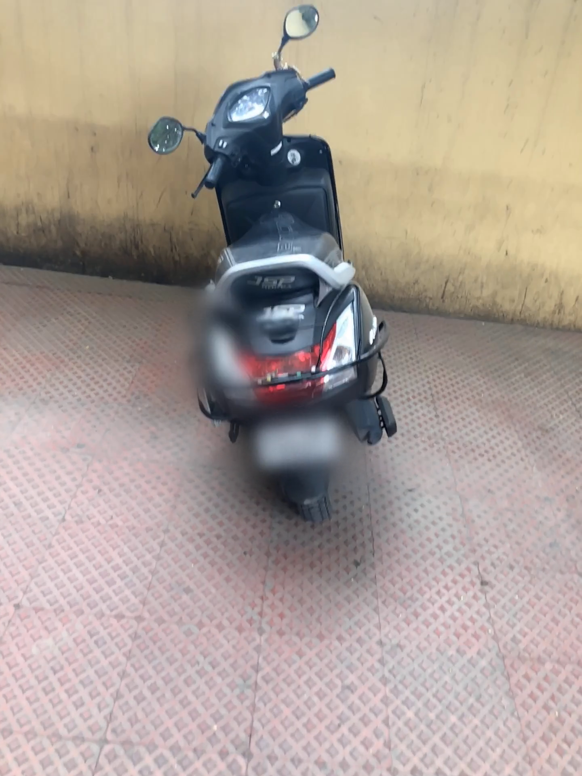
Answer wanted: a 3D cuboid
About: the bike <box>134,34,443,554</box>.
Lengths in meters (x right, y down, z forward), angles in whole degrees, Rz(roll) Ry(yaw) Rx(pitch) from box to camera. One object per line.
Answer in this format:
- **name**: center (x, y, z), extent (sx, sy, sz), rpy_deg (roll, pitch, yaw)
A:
- **bike**: center (-0.067, -0.431, 2.102), extent (0.578, 1.138, 1.490), rpy_deg (4, 32, -5)
